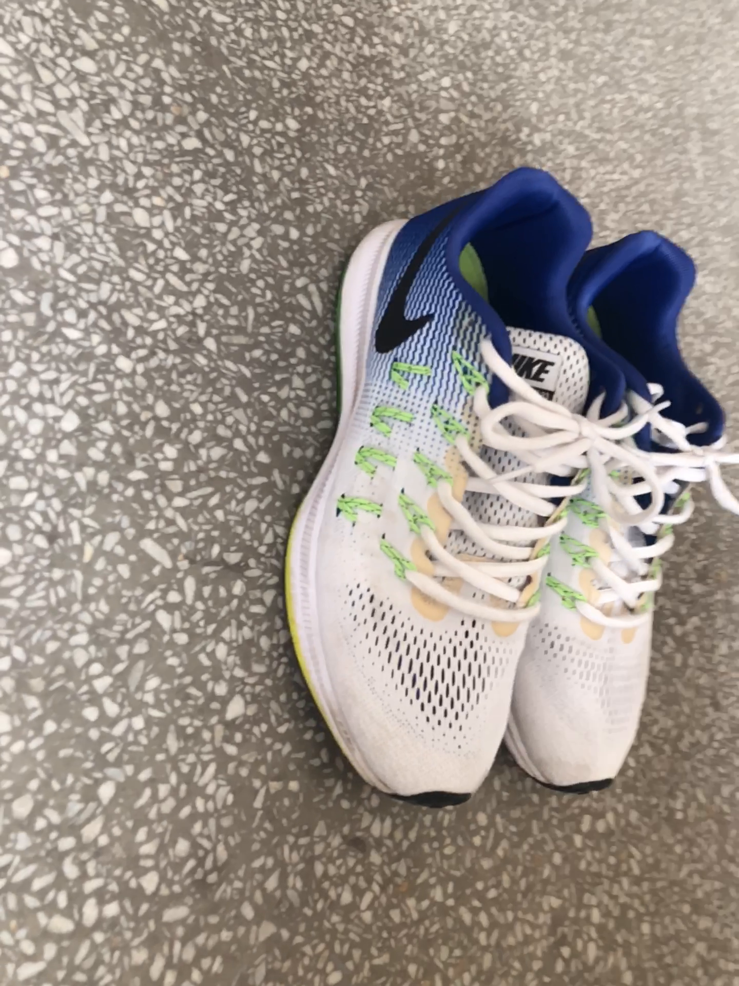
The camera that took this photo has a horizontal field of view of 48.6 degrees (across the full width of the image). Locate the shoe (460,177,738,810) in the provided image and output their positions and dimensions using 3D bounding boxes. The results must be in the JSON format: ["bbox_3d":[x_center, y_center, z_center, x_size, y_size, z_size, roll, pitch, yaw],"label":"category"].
[{"bbox_3d":[0.130,0.008,0.415,0.112,0.114,0.275,13,69,-35],"label":"shoe"}]

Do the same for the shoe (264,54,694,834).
[{"bbox_3d":[0.041,-0.013,0.351,0.113,0.114,0.282,14,68,-34],"label":"shoe"}]
